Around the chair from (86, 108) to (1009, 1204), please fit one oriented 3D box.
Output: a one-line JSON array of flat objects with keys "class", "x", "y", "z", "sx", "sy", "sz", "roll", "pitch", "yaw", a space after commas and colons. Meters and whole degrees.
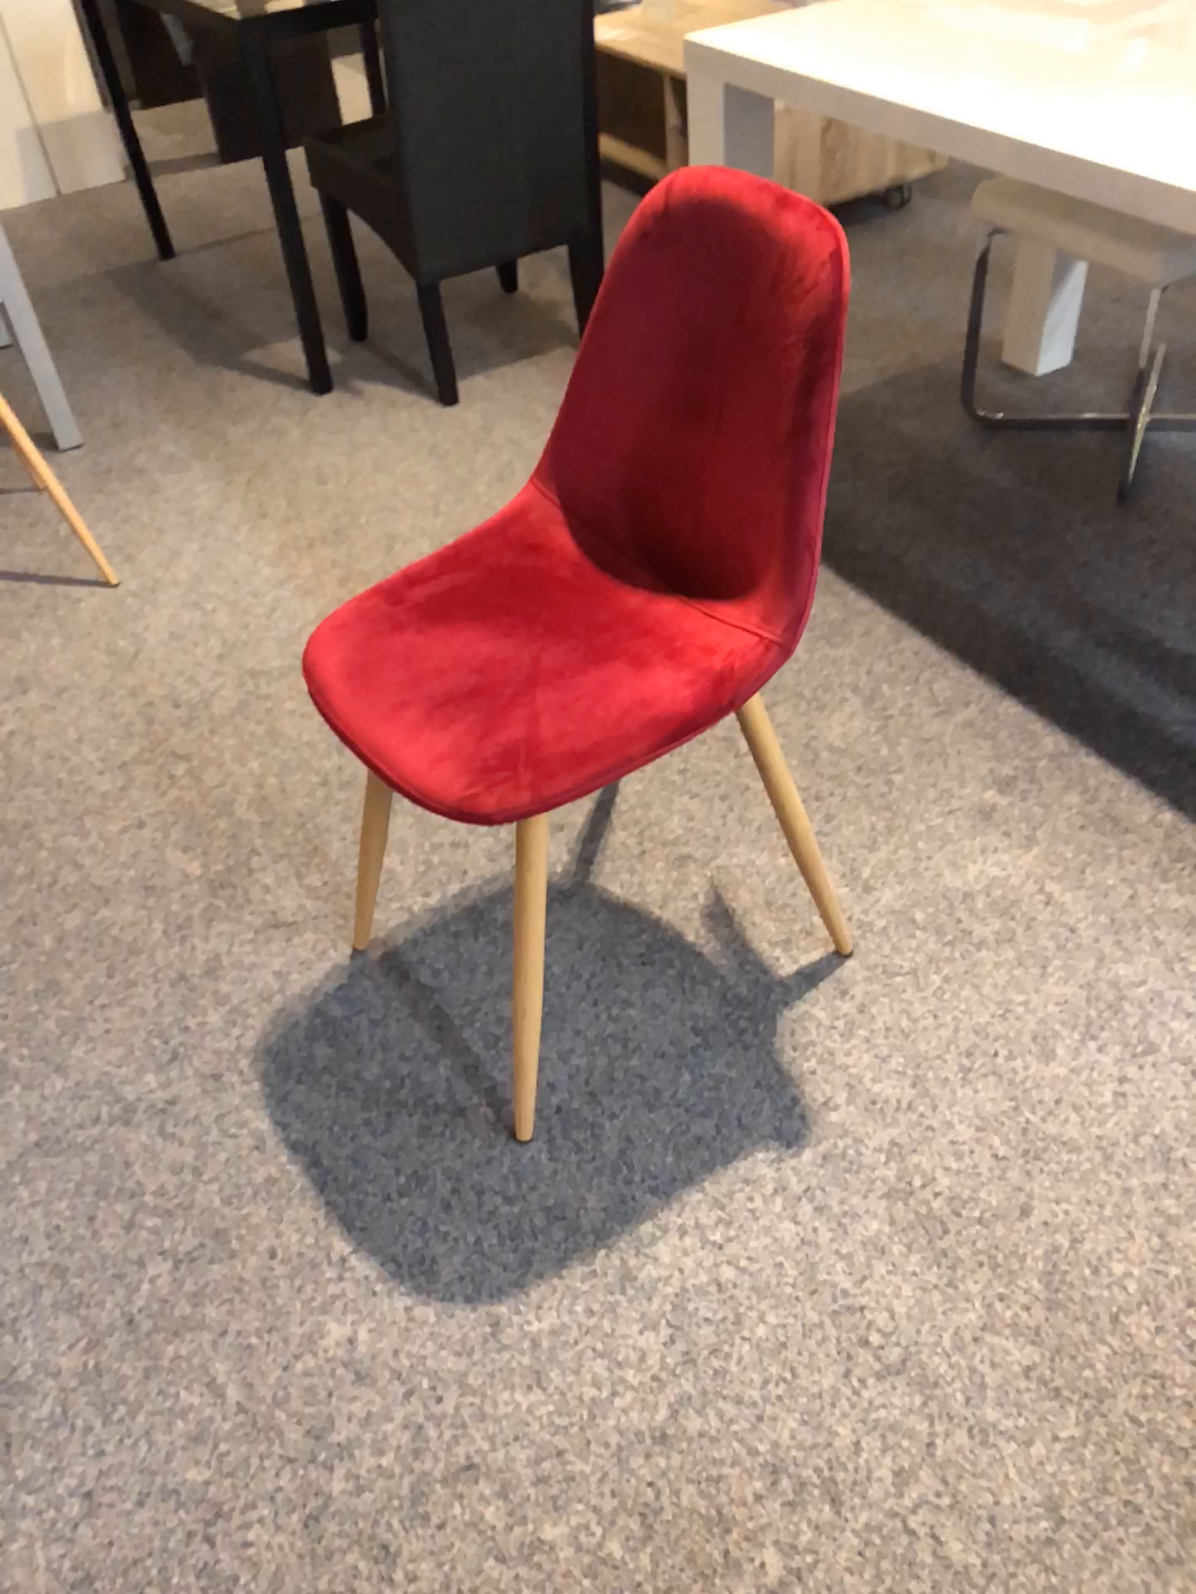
[{"class": "chair", "x": -0.030, "y": -0.149, "z": 1.333, "sx": 0.552, "sy": 0.815, "sz": 0.531, "roll": -28, "pitch": 46, "yaw": -24}]
